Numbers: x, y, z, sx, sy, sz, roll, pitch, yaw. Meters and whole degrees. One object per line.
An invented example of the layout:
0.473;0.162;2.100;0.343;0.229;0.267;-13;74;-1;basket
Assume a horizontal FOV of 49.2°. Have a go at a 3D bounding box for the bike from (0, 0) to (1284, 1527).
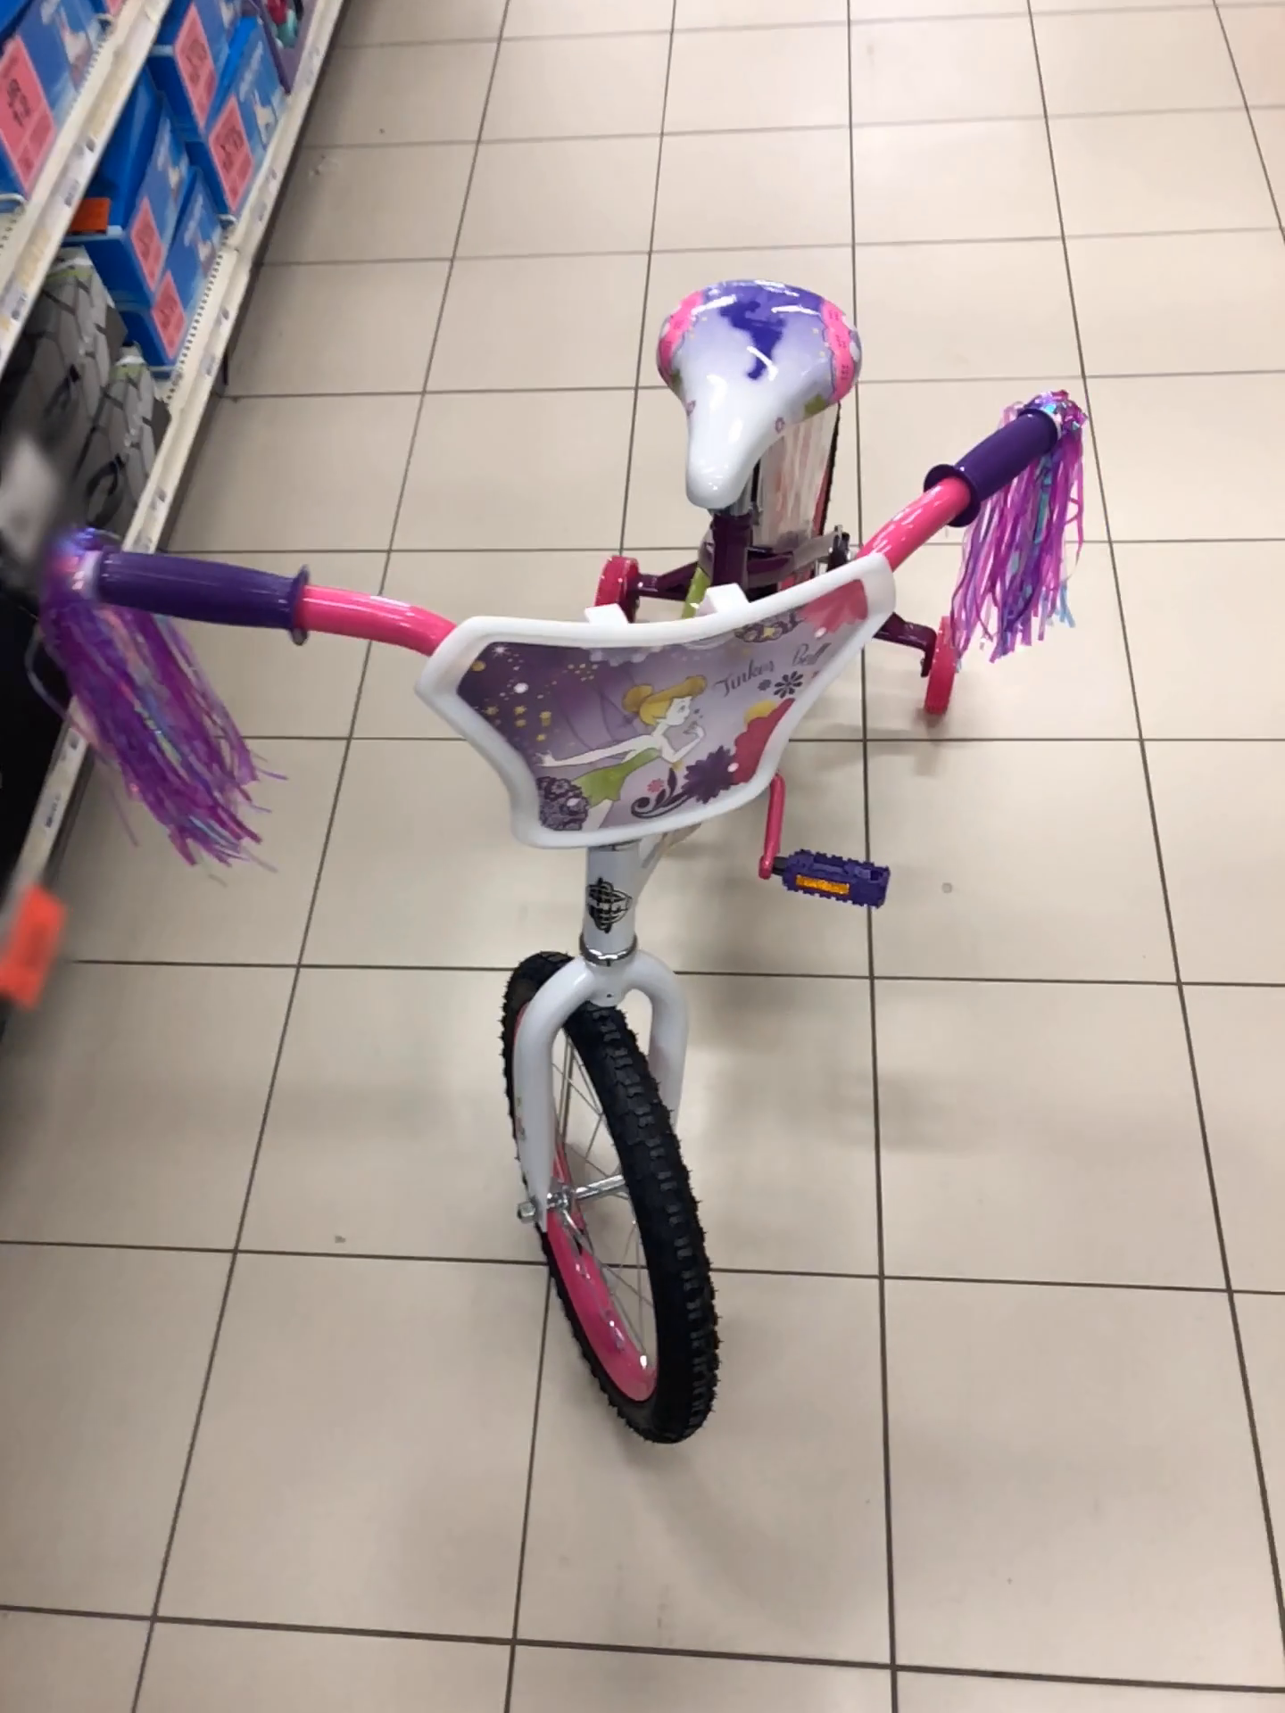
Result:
0.085;-0.160;1.110;0.595;0.810;1.071;5;58;8;bike
